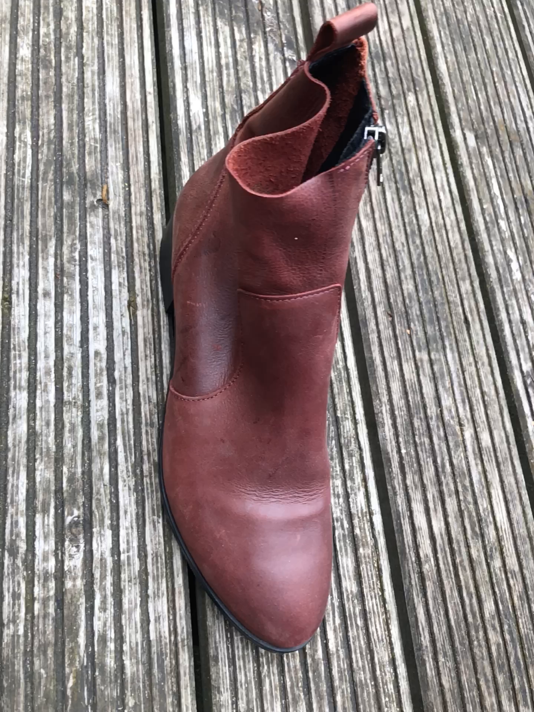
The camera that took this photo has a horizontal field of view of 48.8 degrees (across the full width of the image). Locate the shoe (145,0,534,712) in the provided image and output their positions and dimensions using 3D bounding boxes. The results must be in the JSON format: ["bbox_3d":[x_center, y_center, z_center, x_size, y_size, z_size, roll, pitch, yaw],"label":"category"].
[{"bbox_3d":[0.006,-0.001,0.323,0.090,0.239,0.341,2,71,-22],"label":"shoe"}]
